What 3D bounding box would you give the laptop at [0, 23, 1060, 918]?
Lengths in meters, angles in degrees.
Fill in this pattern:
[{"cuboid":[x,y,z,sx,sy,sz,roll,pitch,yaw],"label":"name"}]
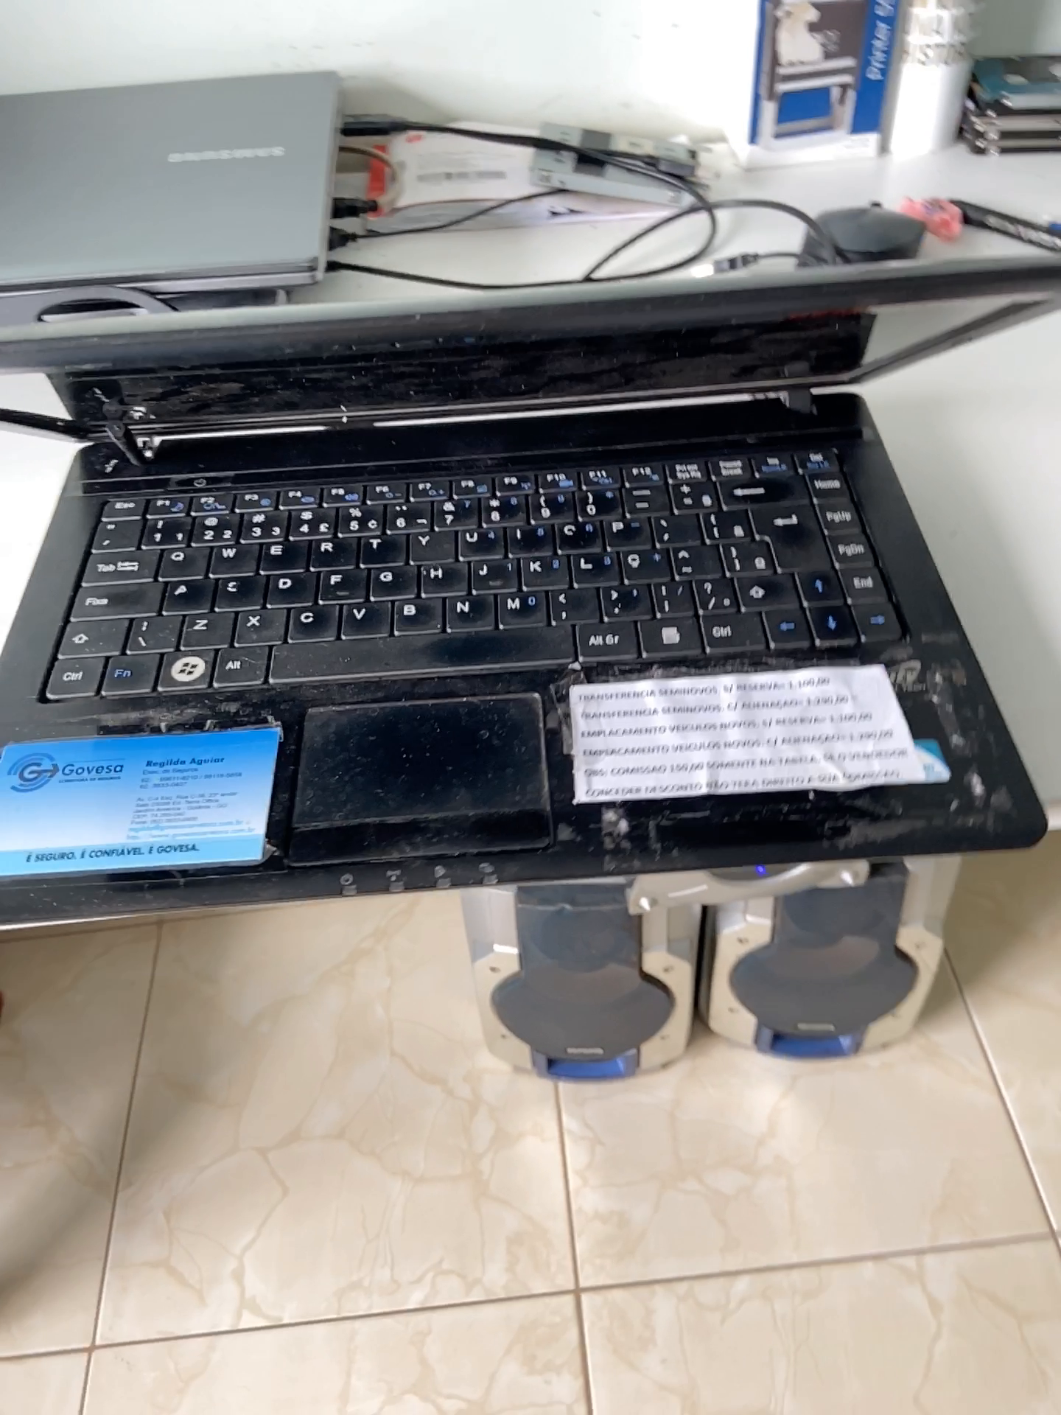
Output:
[{"cuboid":[-0.026,-0.084,0.345,0.335,0.144,0.228,-4,48,1],"label":"laptop"}]
